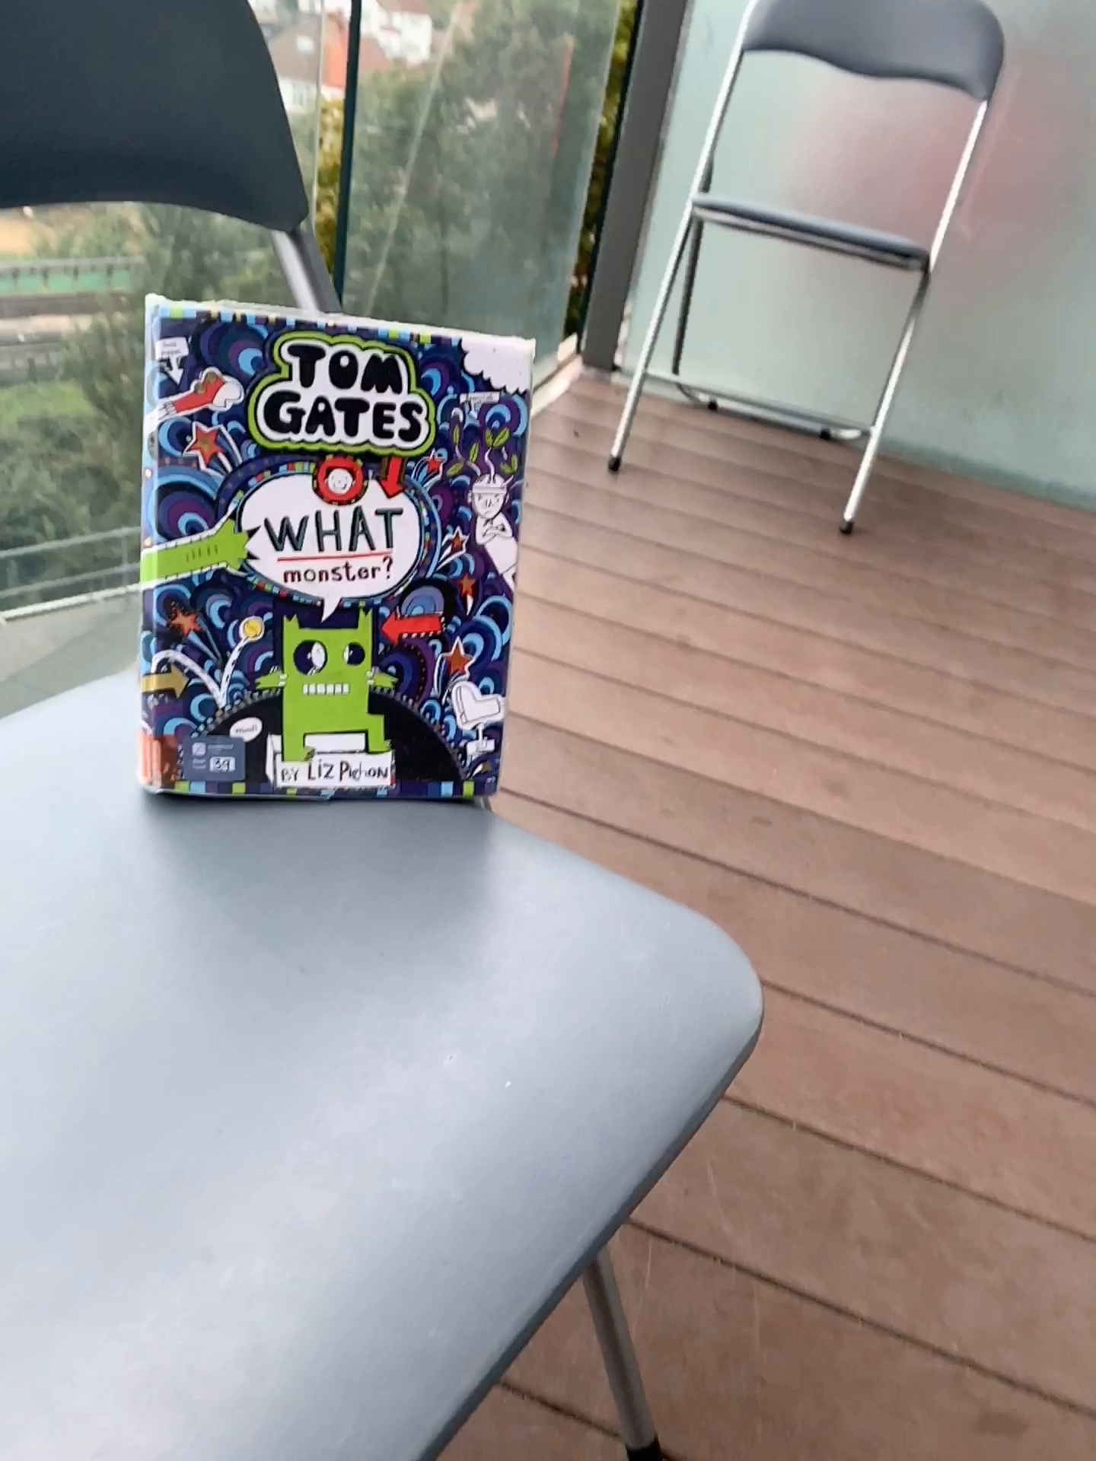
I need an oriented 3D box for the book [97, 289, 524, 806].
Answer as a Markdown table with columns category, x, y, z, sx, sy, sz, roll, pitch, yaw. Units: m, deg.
| category | x | y | z | sx | sy | sz | roll | pitch | yaw |
| --- | --- | --- | --- | --- | --- | --- | --- | --- | --- |
| book | -0.101 | -0.071 | 0.478 | 0.160 | 0.199 | 0.050 | 1 | 15 | -15 |
